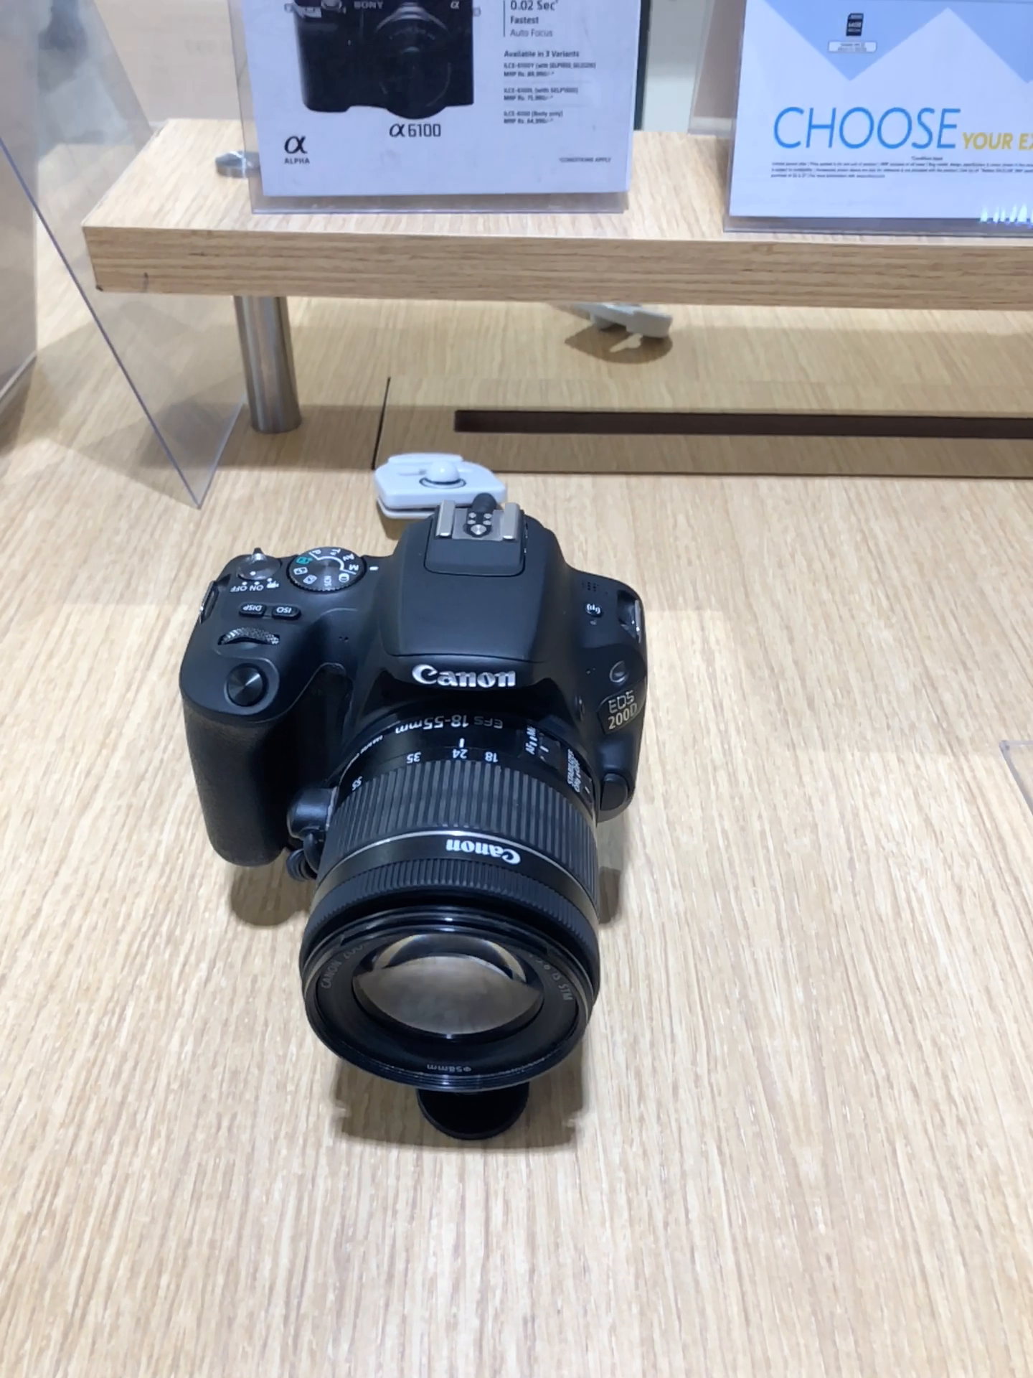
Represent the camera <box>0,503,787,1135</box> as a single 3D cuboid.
[{"bbox_3d":[-0.020,0.024,0.258,0.130,0.079,0.115,1,41,1],"label":"camera"}]
